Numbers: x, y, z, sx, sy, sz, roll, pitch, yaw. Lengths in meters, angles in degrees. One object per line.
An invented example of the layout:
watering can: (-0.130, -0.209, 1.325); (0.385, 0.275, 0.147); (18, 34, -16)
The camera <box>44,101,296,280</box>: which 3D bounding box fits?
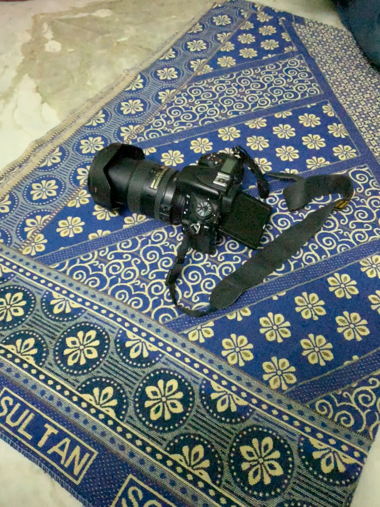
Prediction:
camera: (-0.027, -0.104, 0.599); (0.320, 0.110, 0.160); (19, 59, 14)
